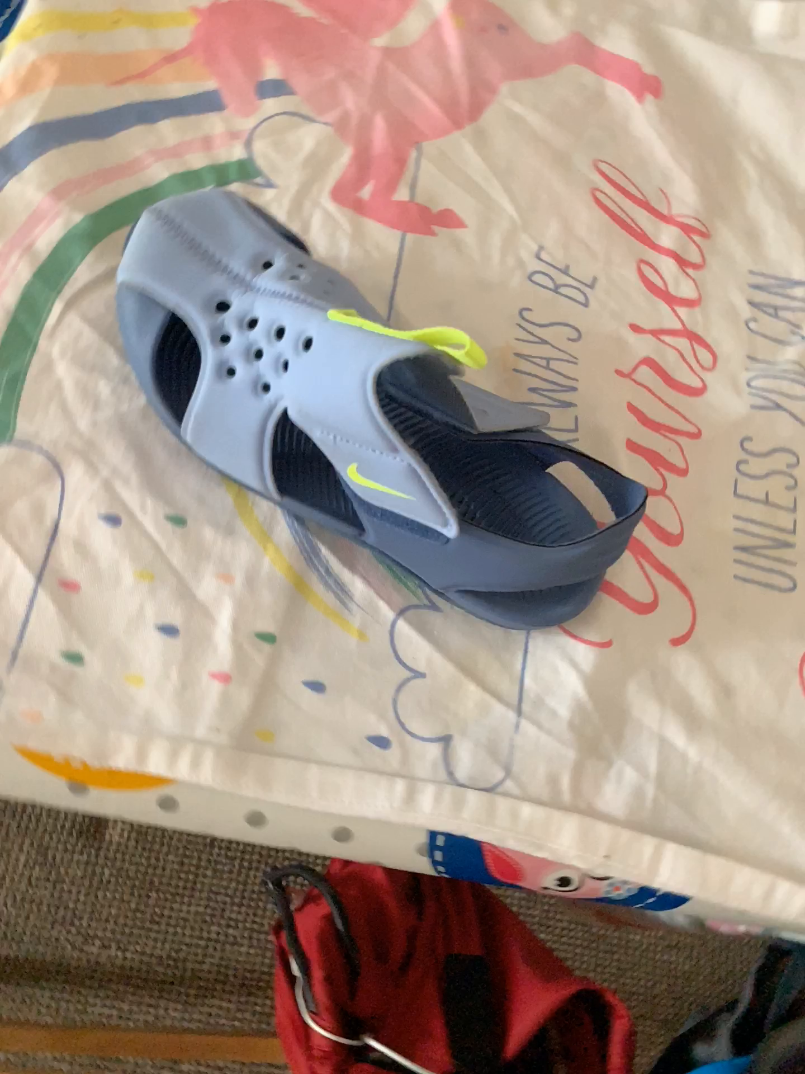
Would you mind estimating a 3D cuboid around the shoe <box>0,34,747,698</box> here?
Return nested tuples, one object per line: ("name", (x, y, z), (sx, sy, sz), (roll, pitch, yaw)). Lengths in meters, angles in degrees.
("shoe", (-0.013, -0.049, 0.286), (0.216, 0.090, 0.087), (37, 72, 2))
